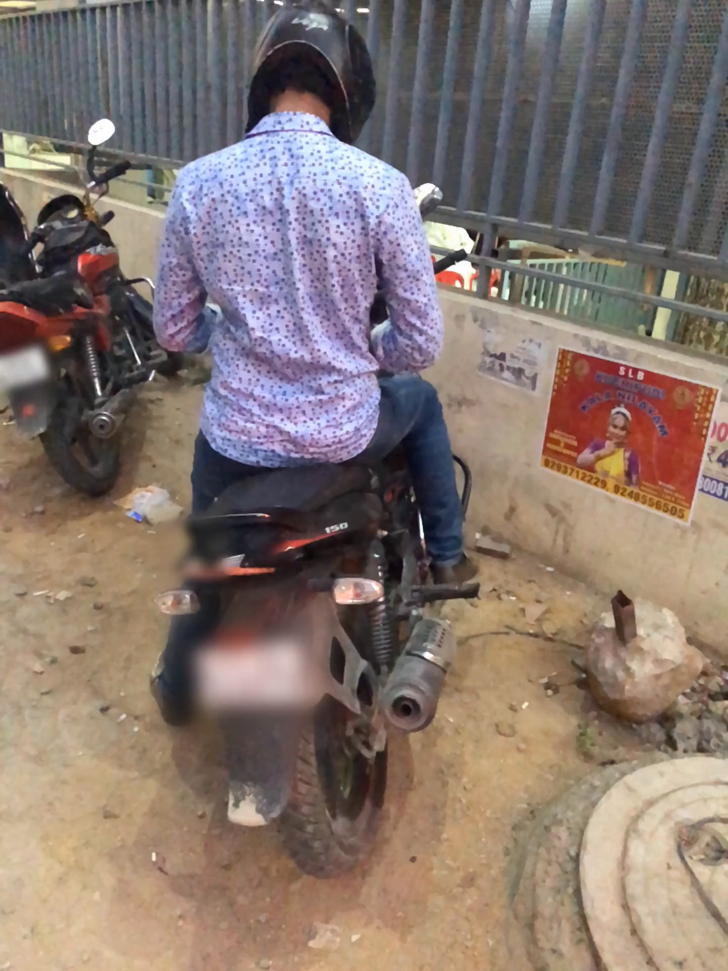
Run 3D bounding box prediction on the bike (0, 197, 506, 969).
[{"bbox_3d":[-0.146,-0.048,2.140,0.746,1.144,1.810,7,25,3],"label":"bike"}]
